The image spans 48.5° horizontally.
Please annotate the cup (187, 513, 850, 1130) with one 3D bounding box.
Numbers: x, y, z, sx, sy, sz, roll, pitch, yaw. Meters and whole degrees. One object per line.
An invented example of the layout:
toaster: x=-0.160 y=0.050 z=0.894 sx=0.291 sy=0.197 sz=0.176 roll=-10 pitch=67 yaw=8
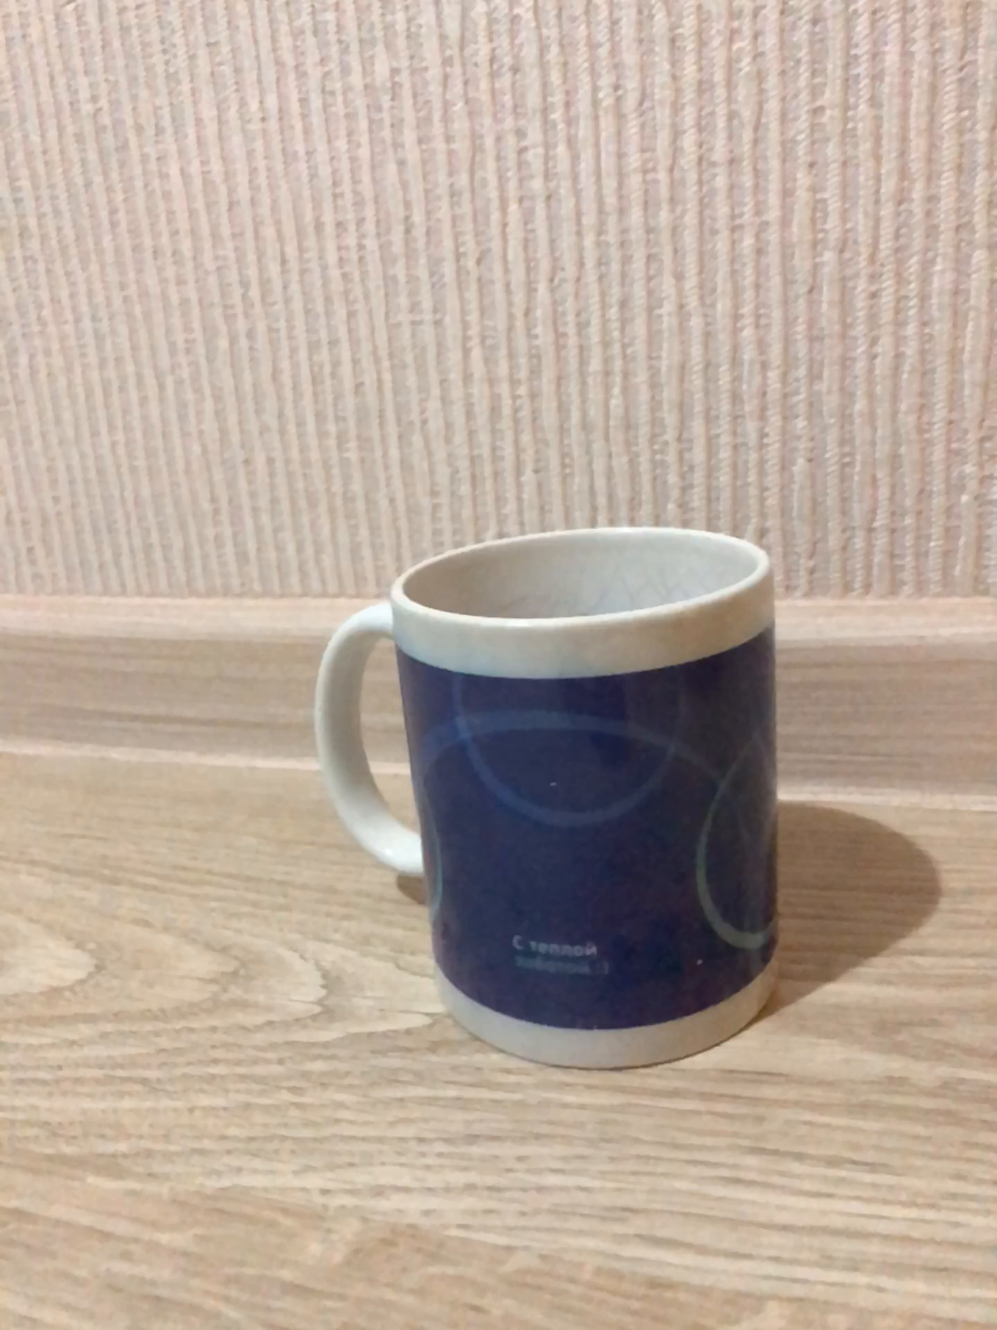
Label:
cup: x=0.009 y=0.022 z=0.269 sx=0.123 sy=0.099 sz=0.094 roll=7 pitch=20 yaw=33
